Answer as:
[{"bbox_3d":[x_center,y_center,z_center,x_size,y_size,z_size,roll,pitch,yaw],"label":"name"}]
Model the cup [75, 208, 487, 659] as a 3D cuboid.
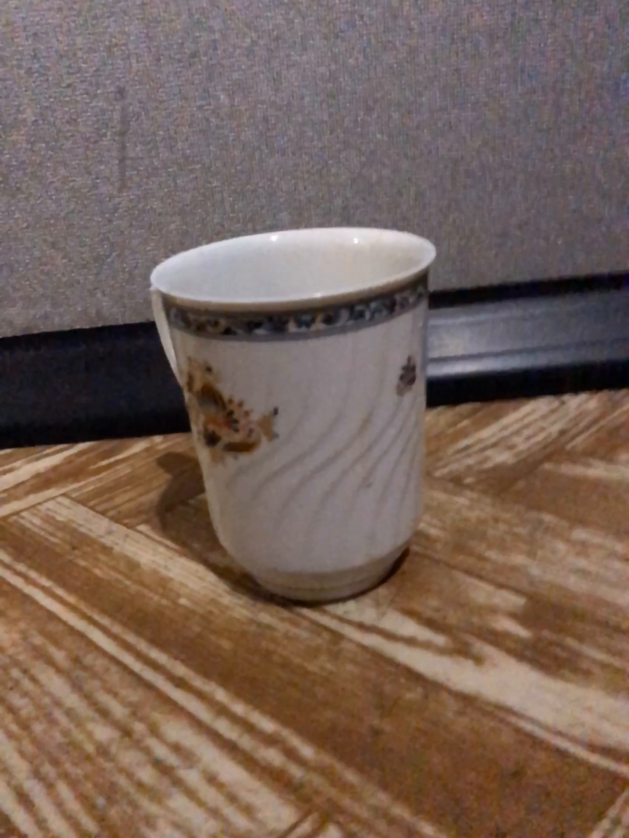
[{"bbox_3d":[-0.013,-0.009,0.234,0.077,0.099,0.119,-21,29,-28],"label":"cup"}]
